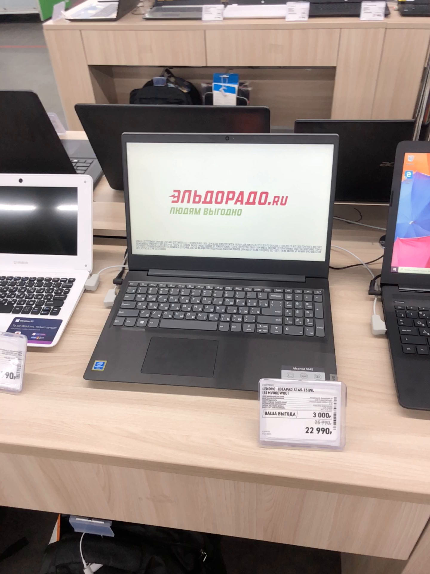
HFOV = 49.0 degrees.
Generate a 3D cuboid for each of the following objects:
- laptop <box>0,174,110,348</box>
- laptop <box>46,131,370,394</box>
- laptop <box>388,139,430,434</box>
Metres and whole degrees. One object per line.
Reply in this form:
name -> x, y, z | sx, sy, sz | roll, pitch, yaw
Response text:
laptop -> -0.367, -0.059, 0.802 | 0.279, 0.139, 0.290 | 2, 40, 7
laptop -> 0.013, -0.059, 0.707 | 0.354, 0.212, 0.342 | 3, 41, 7
laptop -> 0.463, -0.027, 0.623 | 0.374, 0.206, 0.323 | 3, 40, 9
